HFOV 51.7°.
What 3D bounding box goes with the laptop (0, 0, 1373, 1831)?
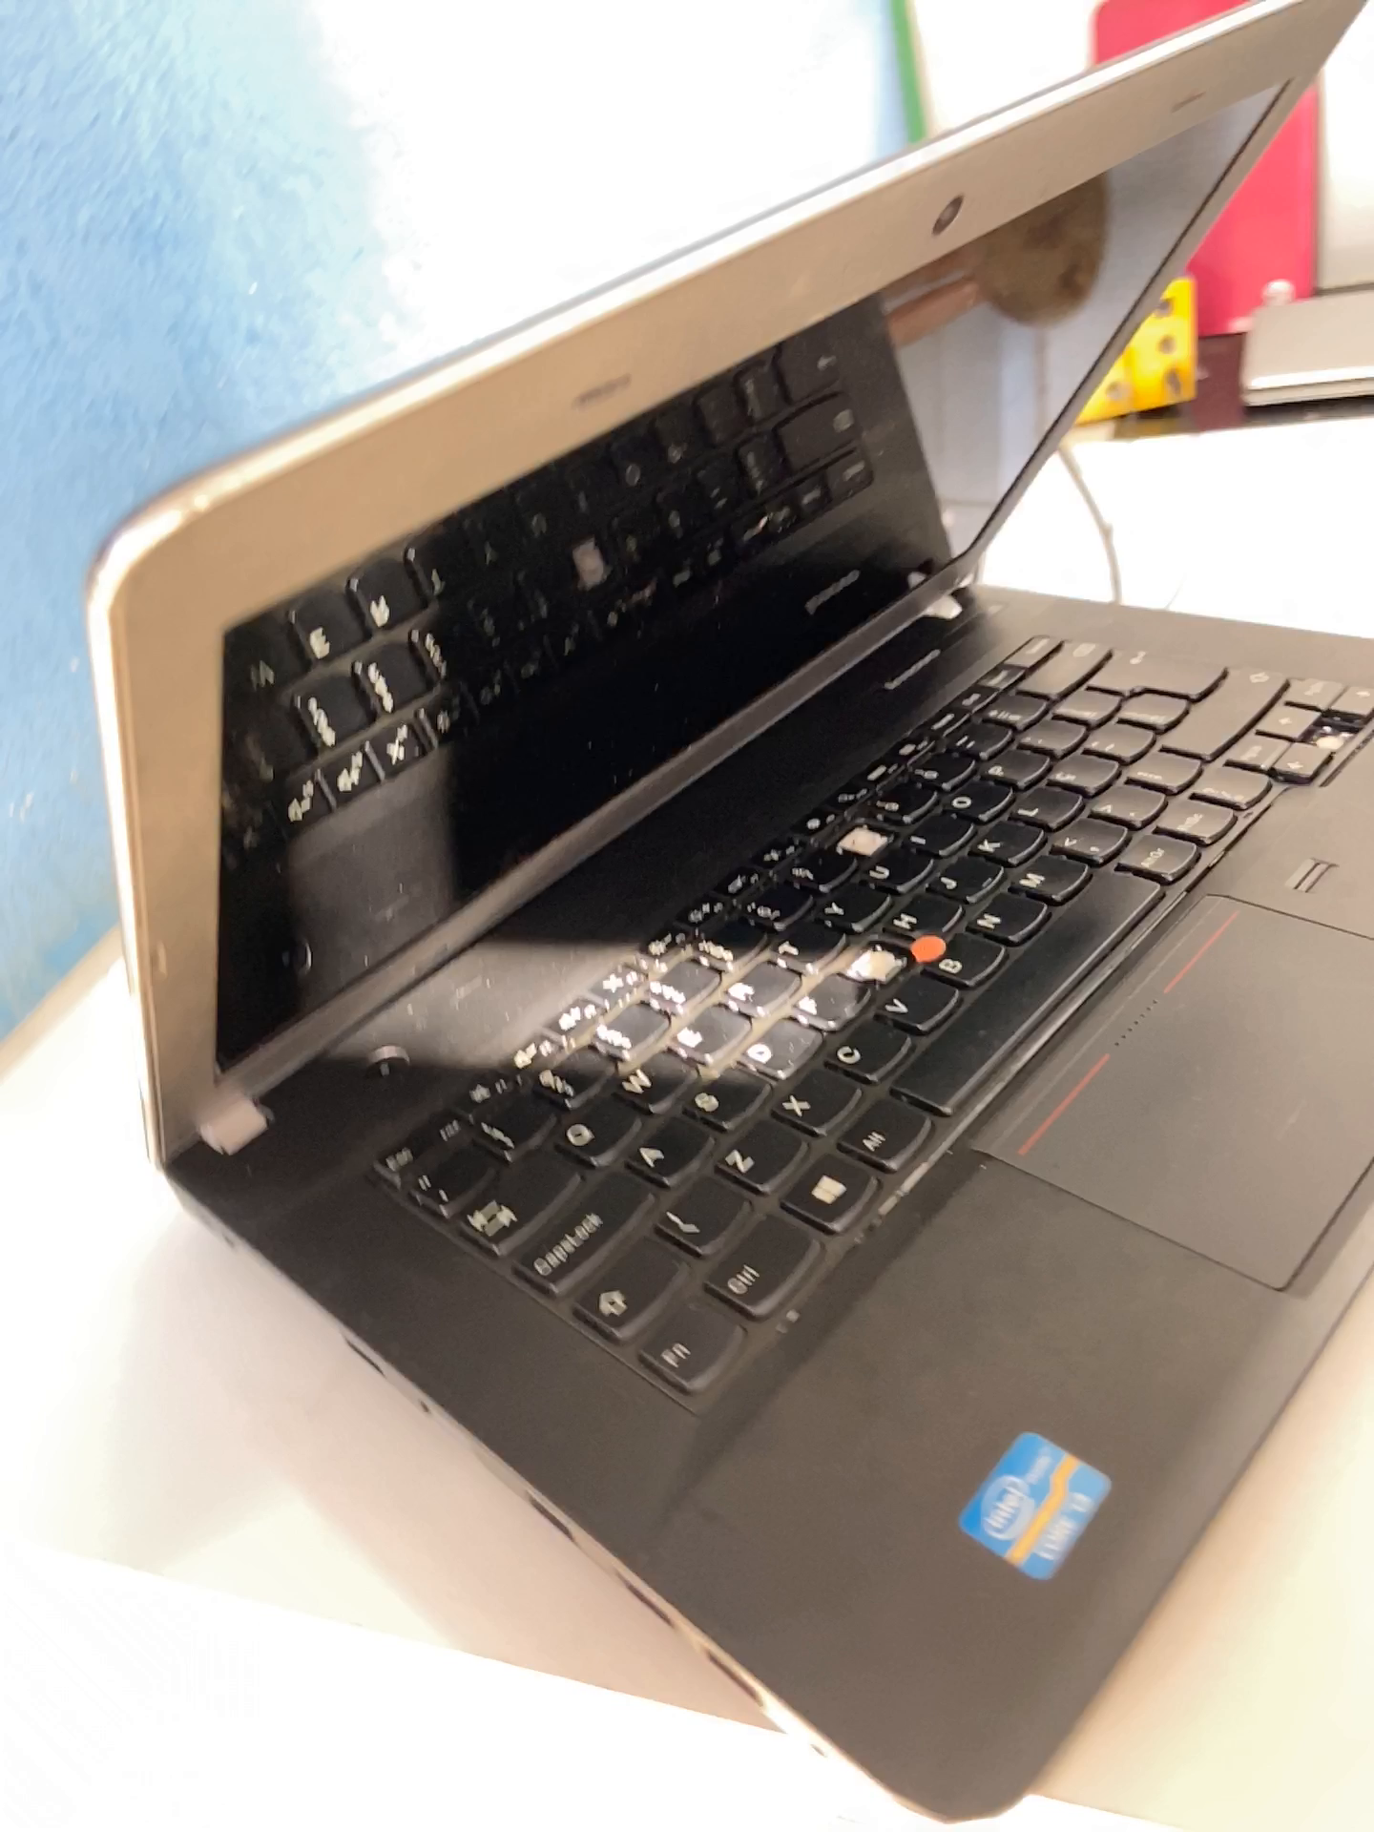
[{"bbox_3d":[0.048,-0.066,0.304,0.231,0.165,0.331,20,47,41],"label":"laptop"}]
